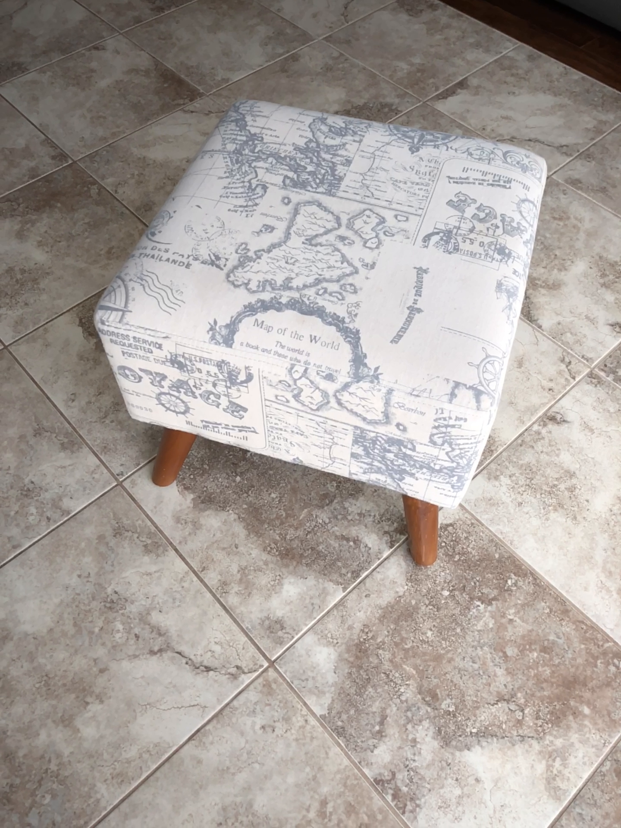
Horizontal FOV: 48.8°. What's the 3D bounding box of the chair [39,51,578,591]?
[{"bbox_3d":[0.032,-0.123,0.828,0.420,0.319,0.471,16,58,10],"label":"chair"}]
